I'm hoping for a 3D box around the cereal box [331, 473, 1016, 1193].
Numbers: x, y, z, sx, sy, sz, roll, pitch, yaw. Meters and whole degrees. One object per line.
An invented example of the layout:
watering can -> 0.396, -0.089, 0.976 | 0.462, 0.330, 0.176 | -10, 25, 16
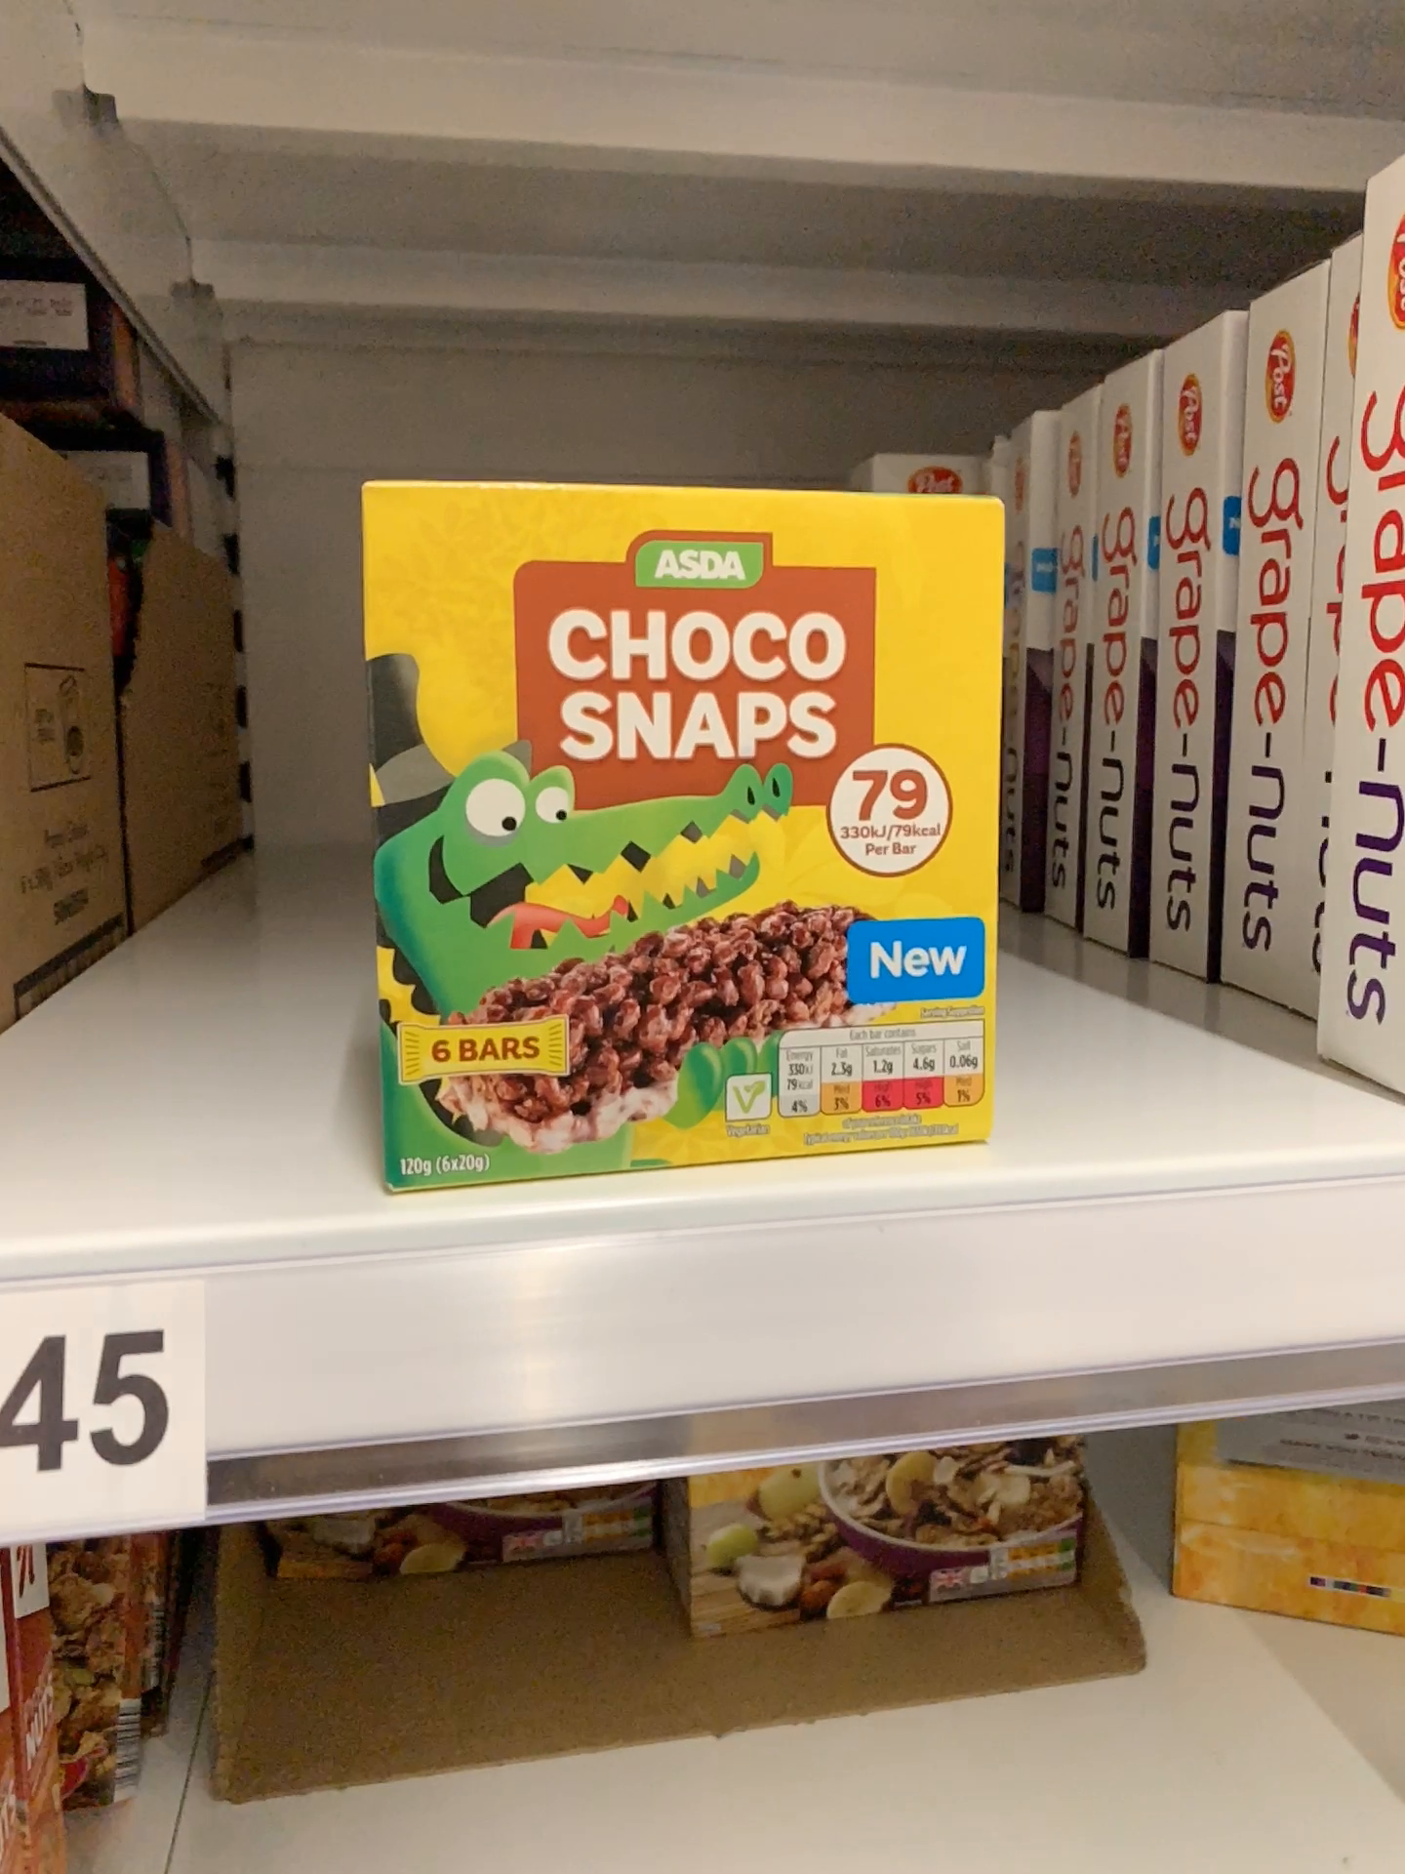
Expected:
cereal box -> -0.010, -0.025, 0.311 | 0.130, 0.130, 0.070 | -2, 8, -14
